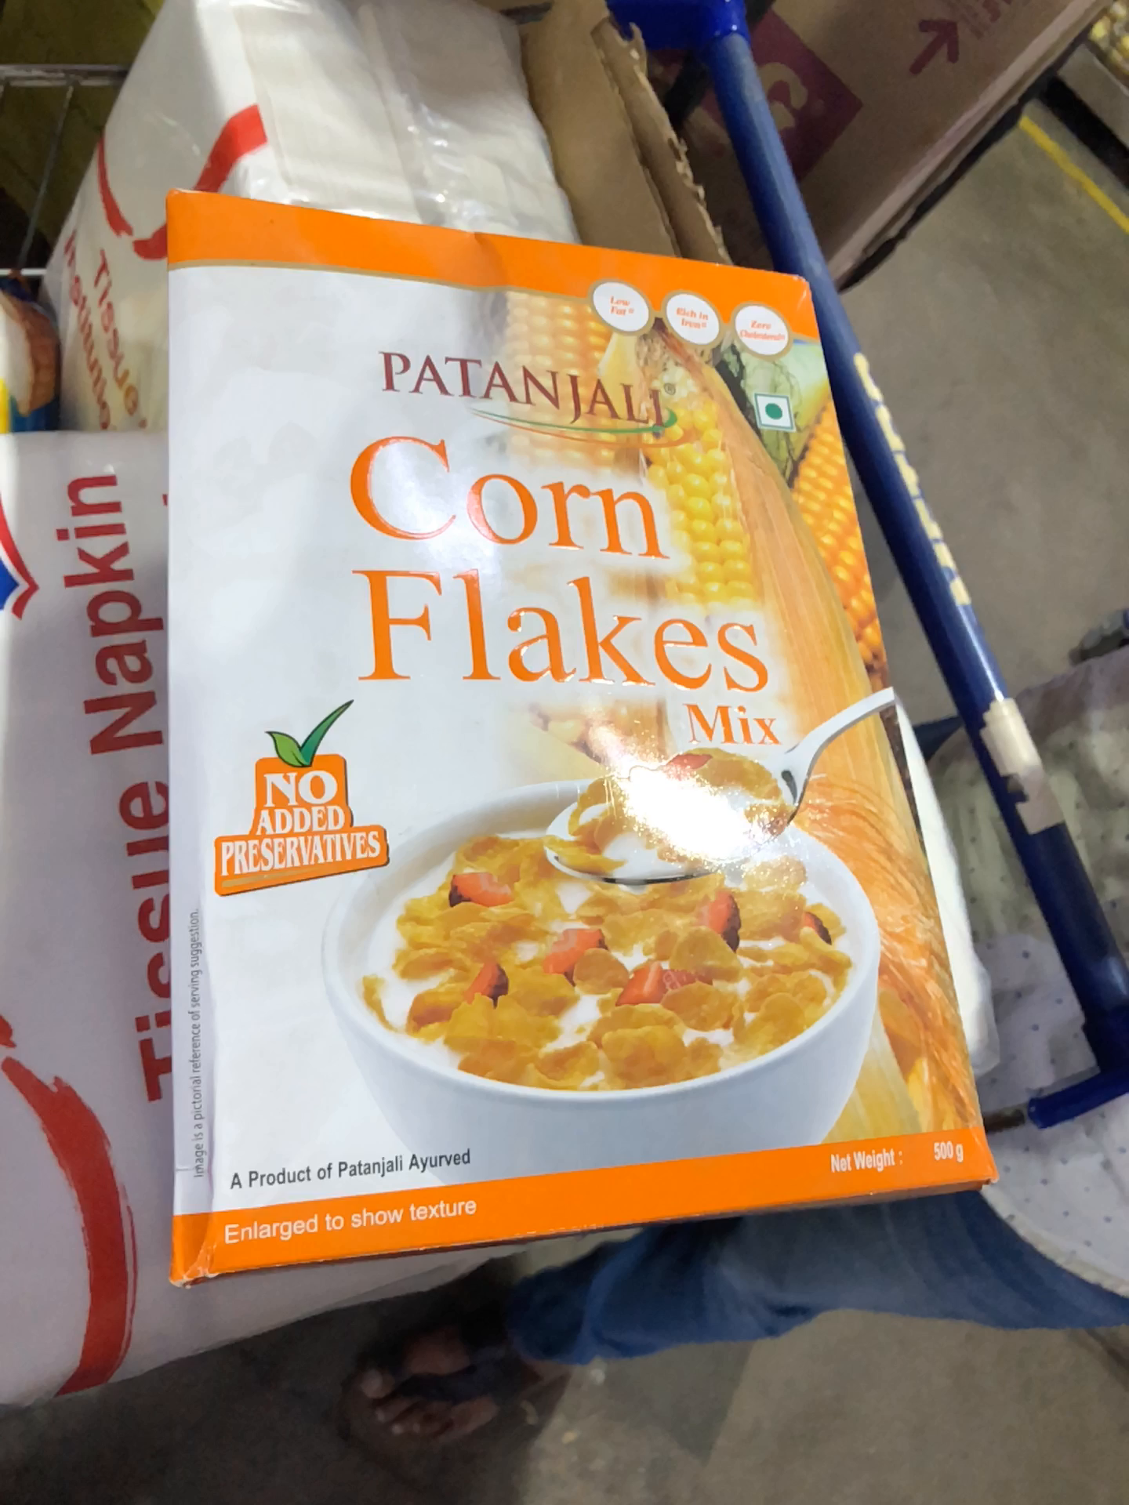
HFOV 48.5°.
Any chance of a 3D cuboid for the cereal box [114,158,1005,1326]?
[{"bbox_3d":[-0.016,-0.010,0.345,0.200,0.080,0.271,-1,72,-20],"label":"cereal box"}]
